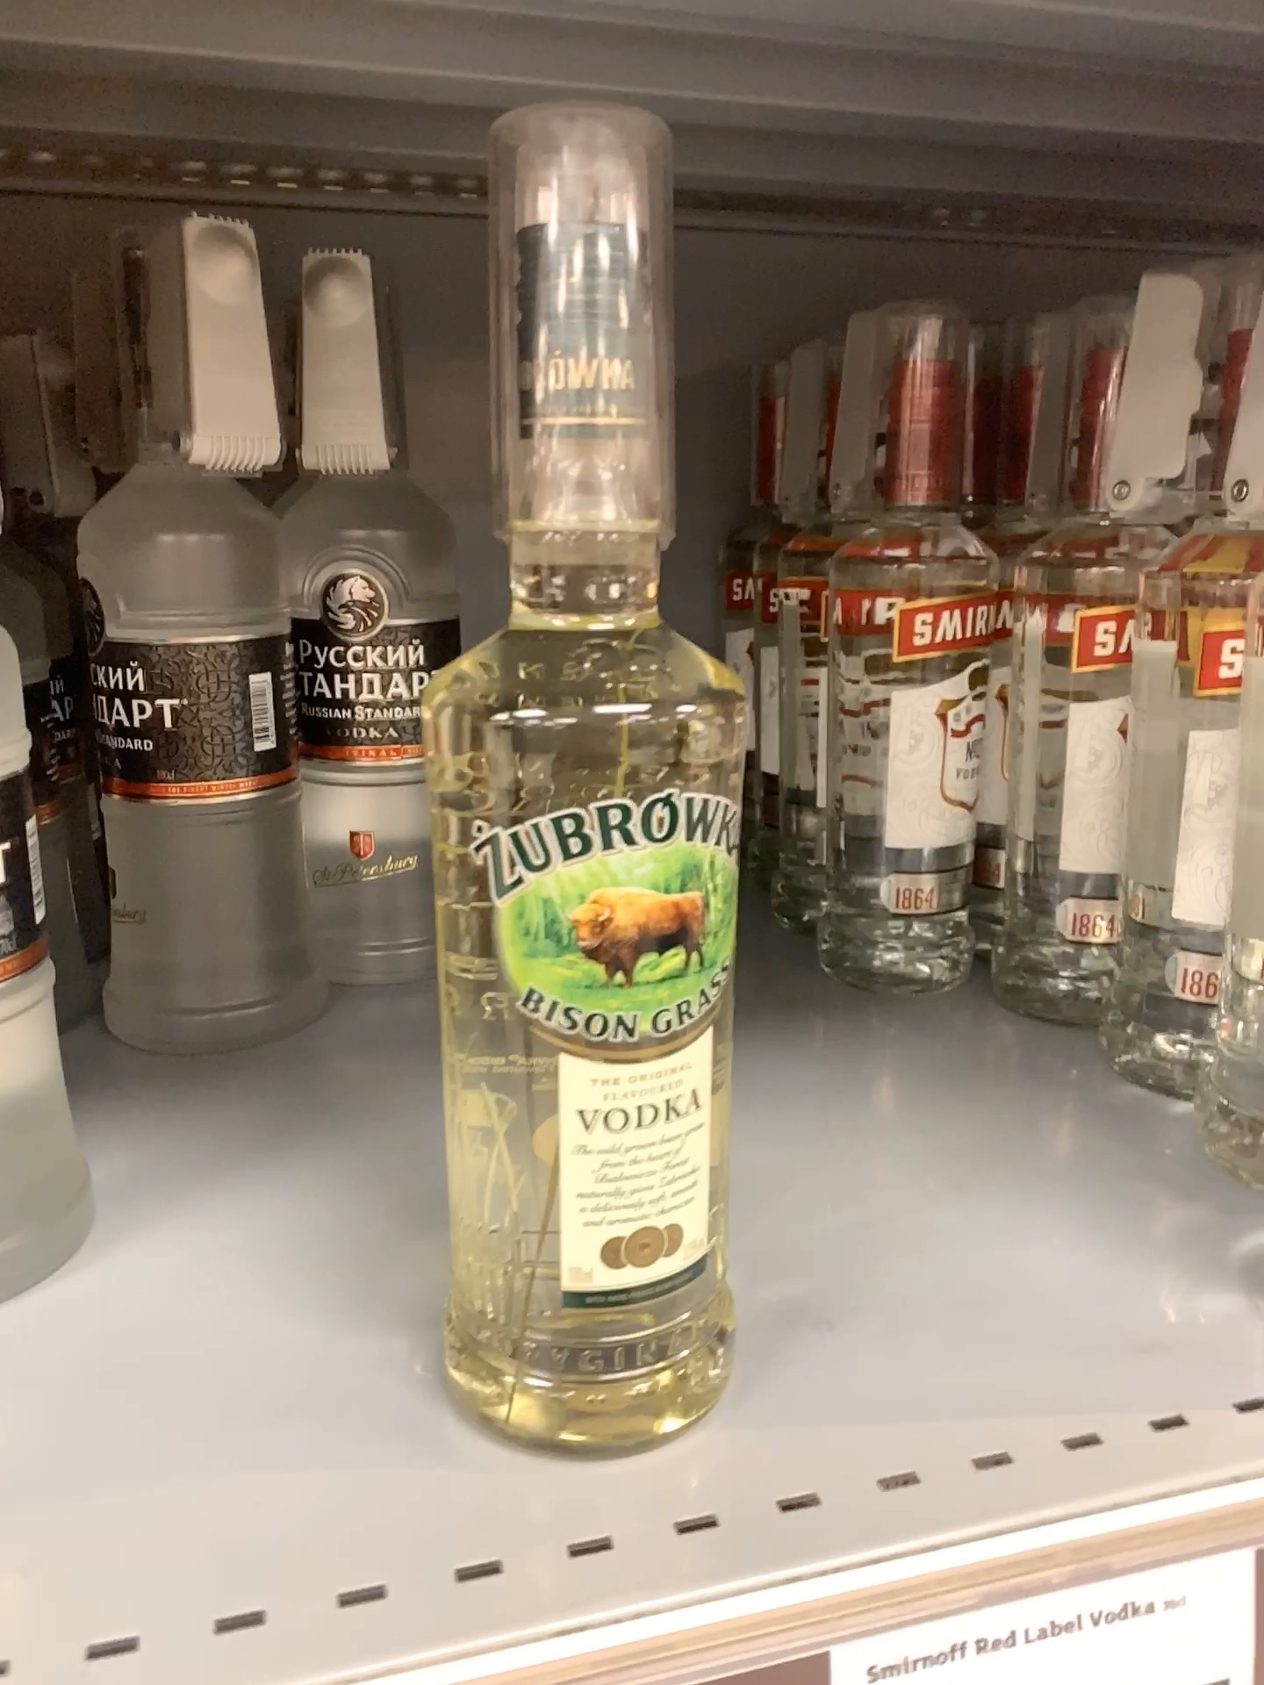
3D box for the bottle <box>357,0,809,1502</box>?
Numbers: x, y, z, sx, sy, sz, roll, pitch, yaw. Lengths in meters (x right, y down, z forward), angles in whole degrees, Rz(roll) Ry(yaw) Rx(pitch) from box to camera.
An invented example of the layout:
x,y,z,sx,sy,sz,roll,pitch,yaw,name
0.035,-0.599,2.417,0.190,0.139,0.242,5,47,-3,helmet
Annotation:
x,y,z,sx,sy,sz,roll,pitch,yaw,name
-0.013,-0.011,0.298,0.076,0.303,0.069,-4,14,-17,bottle
